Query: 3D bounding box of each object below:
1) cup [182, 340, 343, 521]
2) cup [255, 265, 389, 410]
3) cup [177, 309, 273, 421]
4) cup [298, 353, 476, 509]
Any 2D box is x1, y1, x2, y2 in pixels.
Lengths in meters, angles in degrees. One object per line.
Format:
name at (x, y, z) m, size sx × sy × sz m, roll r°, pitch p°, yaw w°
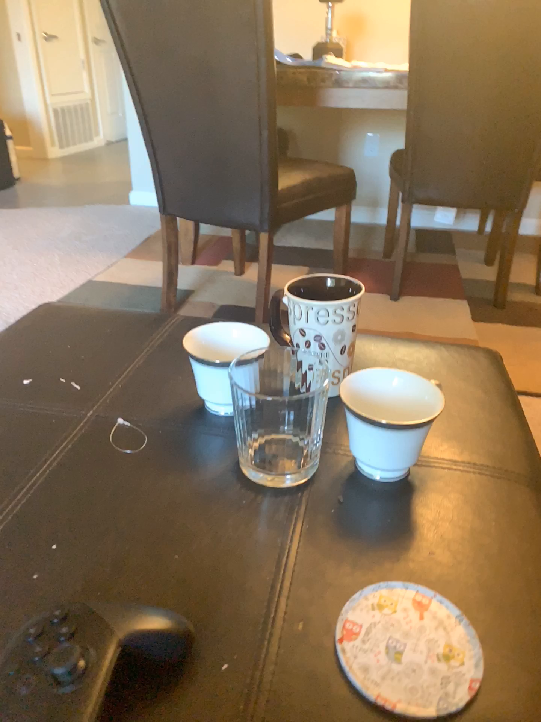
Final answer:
cup at (-0.008, 0.057, 0.507) m, size 0.100 × 0.099 × 0.100 m, roll 1°, pitch 29°, yaw 0°
cup at (0.054, -0.031, 0.614) m, size 0.100 × 0.109 × 0.100 m, roll 1°, pitch 29°, yaw 0°
cup at (-0.049, 0.001, 0.584) m, size 0.090 × 0.070 × 0.111 m, roll -3°, pitch 29°, yaw -6°
cup at (0.104, 0.056, 0.501) m, size 0.120 × 0.060 × 0.100 m, roll -23°, pitch 36°, yaw -36°
